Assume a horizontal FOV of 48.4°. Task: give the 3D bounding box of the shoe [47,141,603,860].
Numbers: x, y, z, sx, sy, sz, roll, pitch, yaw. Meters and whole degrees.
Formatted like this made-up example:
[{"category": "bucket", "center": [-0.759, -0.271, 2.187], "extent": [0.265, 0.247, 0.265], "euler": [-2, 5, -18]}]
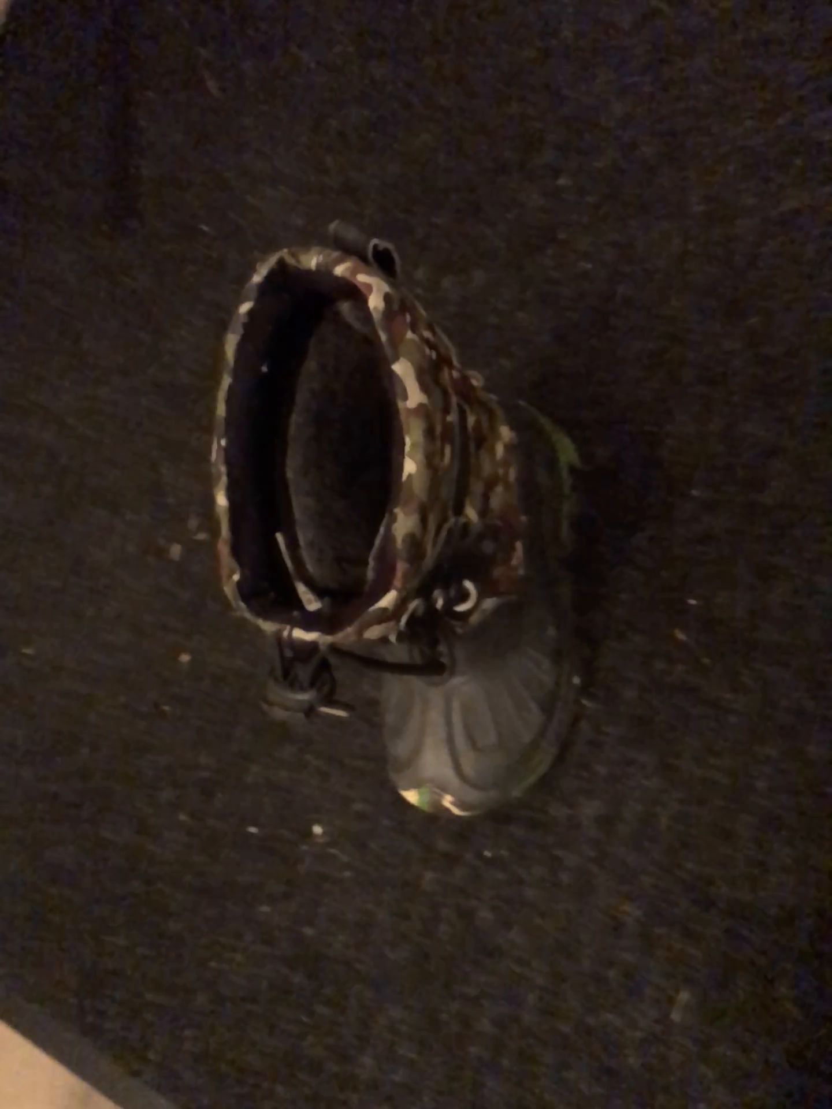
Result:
[{"category": "shoe", "center": [-0.009, -0.003, 0.364], "extent": [0.100, 0.209, 0.200], "euler": [4, 80, 24]}]
